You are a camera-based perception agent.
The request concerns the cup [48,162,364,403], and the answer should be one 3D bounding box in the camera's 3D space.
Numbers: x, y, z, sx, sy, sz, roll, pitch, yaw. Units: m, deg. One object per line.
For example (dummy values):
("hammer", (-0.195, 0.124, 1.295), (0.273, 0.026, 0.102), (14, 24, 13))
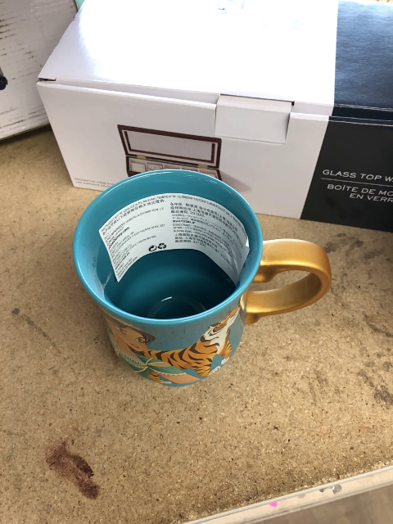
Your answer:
("cup", (0.005, 0.020, 0.272), (0.140, 0.120, 0.098), (-2, 57, 1))
